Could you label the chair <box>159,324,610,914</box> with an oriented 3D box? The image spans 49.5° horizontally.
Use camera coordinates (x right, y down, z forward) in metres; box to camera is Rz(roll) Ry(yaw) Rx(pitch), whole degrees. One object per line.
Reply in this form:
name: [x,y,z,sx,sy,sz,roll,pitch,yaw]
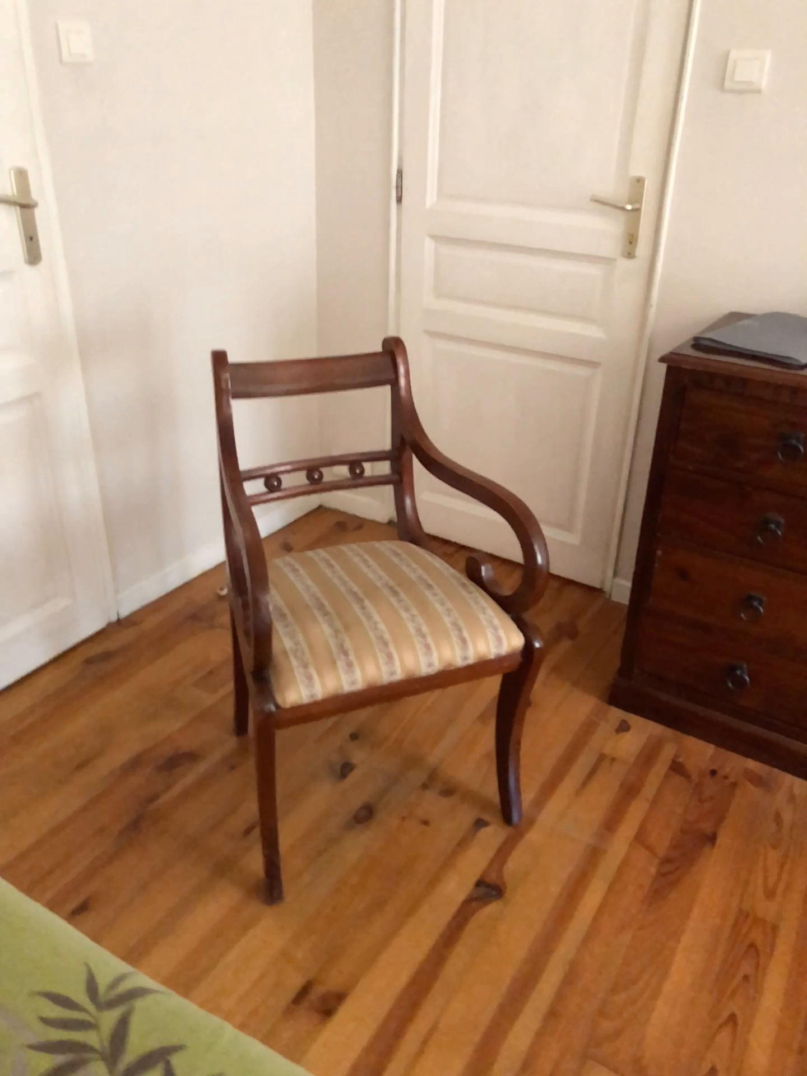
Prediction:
chair: [-0.078,0.098,1.633,0.581,0.825,0.572,-9,28,-21]
